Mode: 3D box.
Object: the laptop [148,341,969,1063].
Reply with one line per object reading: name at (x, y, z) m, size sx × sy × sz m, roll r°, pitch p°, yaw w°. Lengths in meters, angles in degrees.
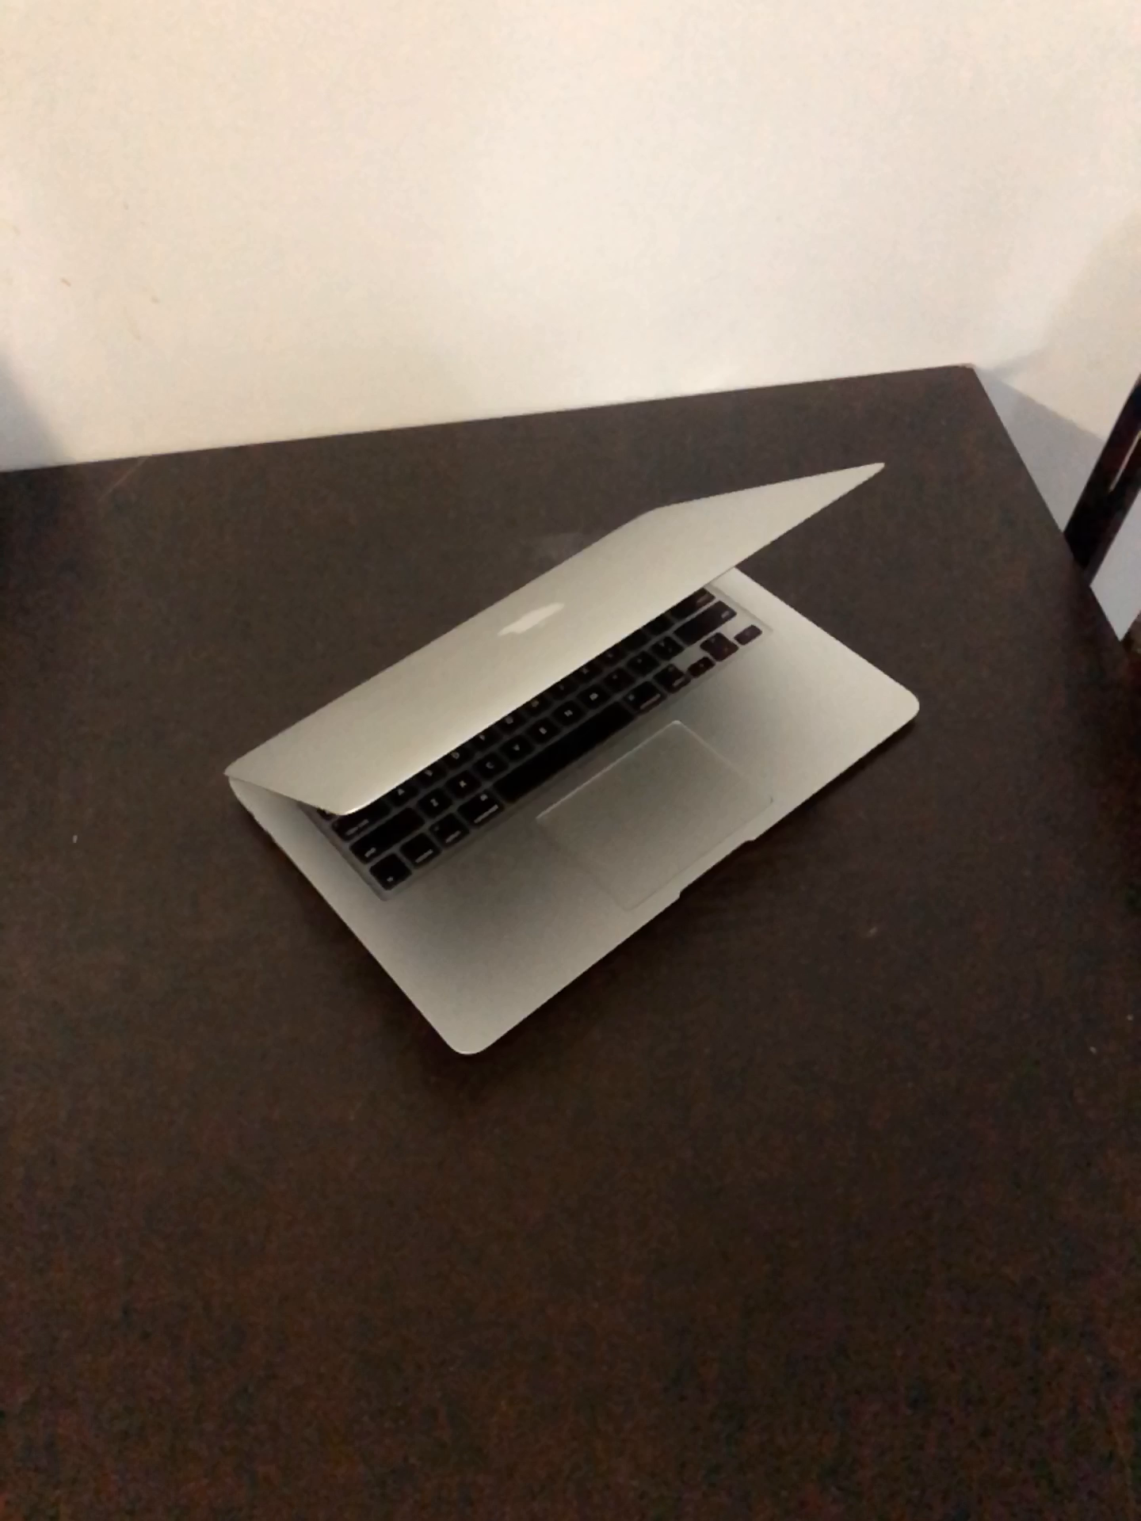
laptop at (-0.001, -0.052, 0.655) m, size 0.331 × 0.131 × 0.226 m, roll -34°, pitch 55°, yaw -23°
